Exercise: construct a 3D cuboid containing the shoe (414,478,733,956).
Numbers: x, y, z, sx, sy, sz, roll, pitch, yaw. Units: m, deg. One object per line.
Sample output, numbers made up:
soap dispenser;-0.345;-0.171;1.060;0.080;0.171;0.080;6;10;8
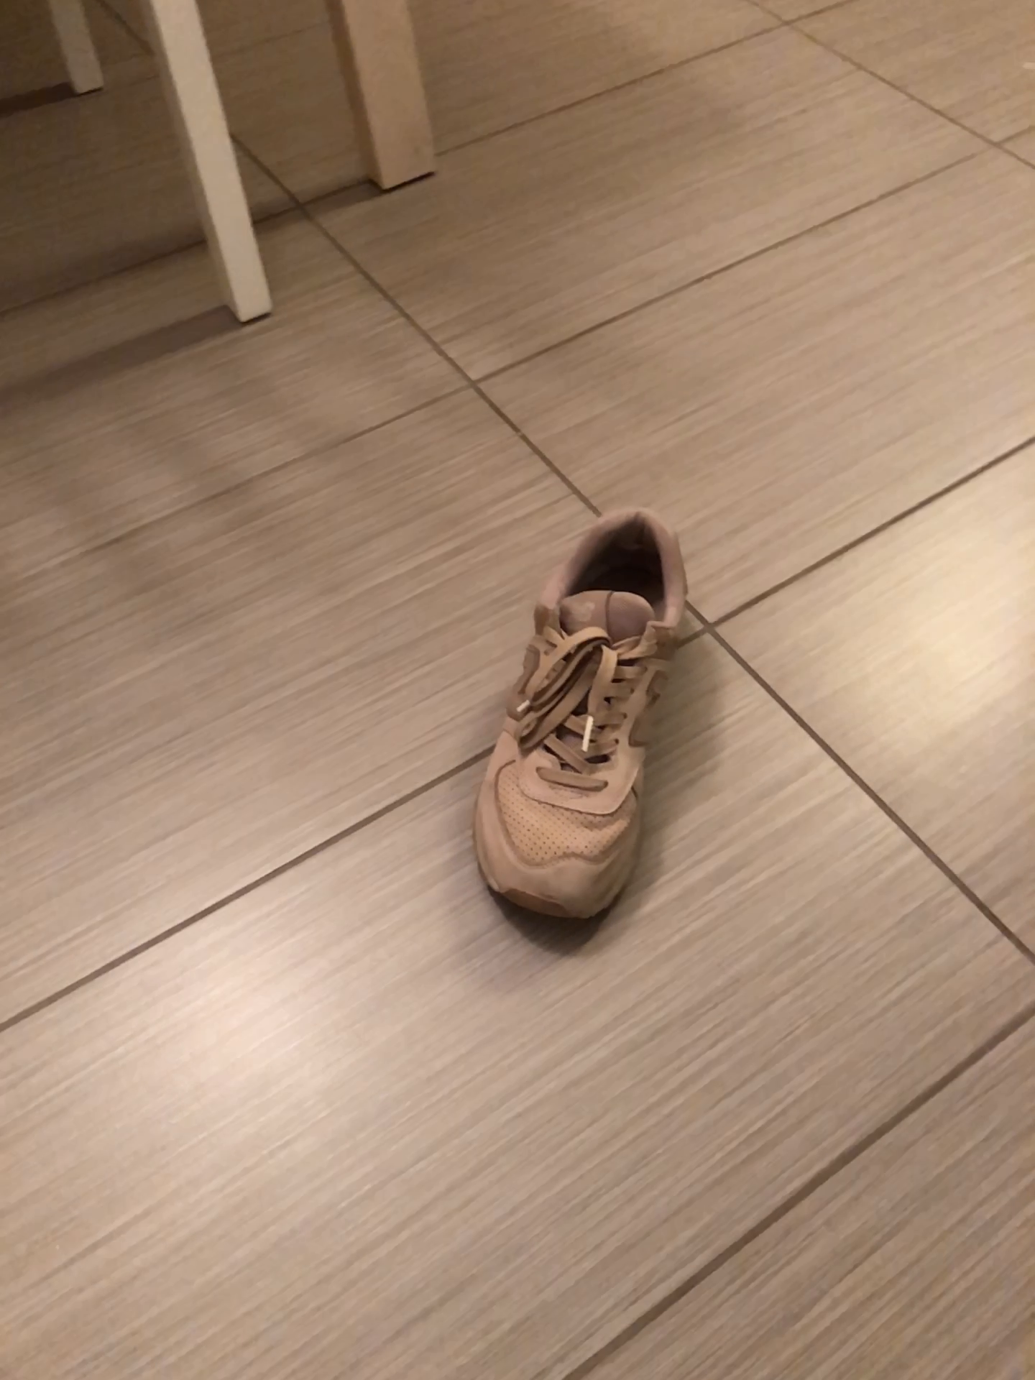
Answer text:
shoe;0.042;0.006;0.688;0.100;0.090;0.271;16;56;13
